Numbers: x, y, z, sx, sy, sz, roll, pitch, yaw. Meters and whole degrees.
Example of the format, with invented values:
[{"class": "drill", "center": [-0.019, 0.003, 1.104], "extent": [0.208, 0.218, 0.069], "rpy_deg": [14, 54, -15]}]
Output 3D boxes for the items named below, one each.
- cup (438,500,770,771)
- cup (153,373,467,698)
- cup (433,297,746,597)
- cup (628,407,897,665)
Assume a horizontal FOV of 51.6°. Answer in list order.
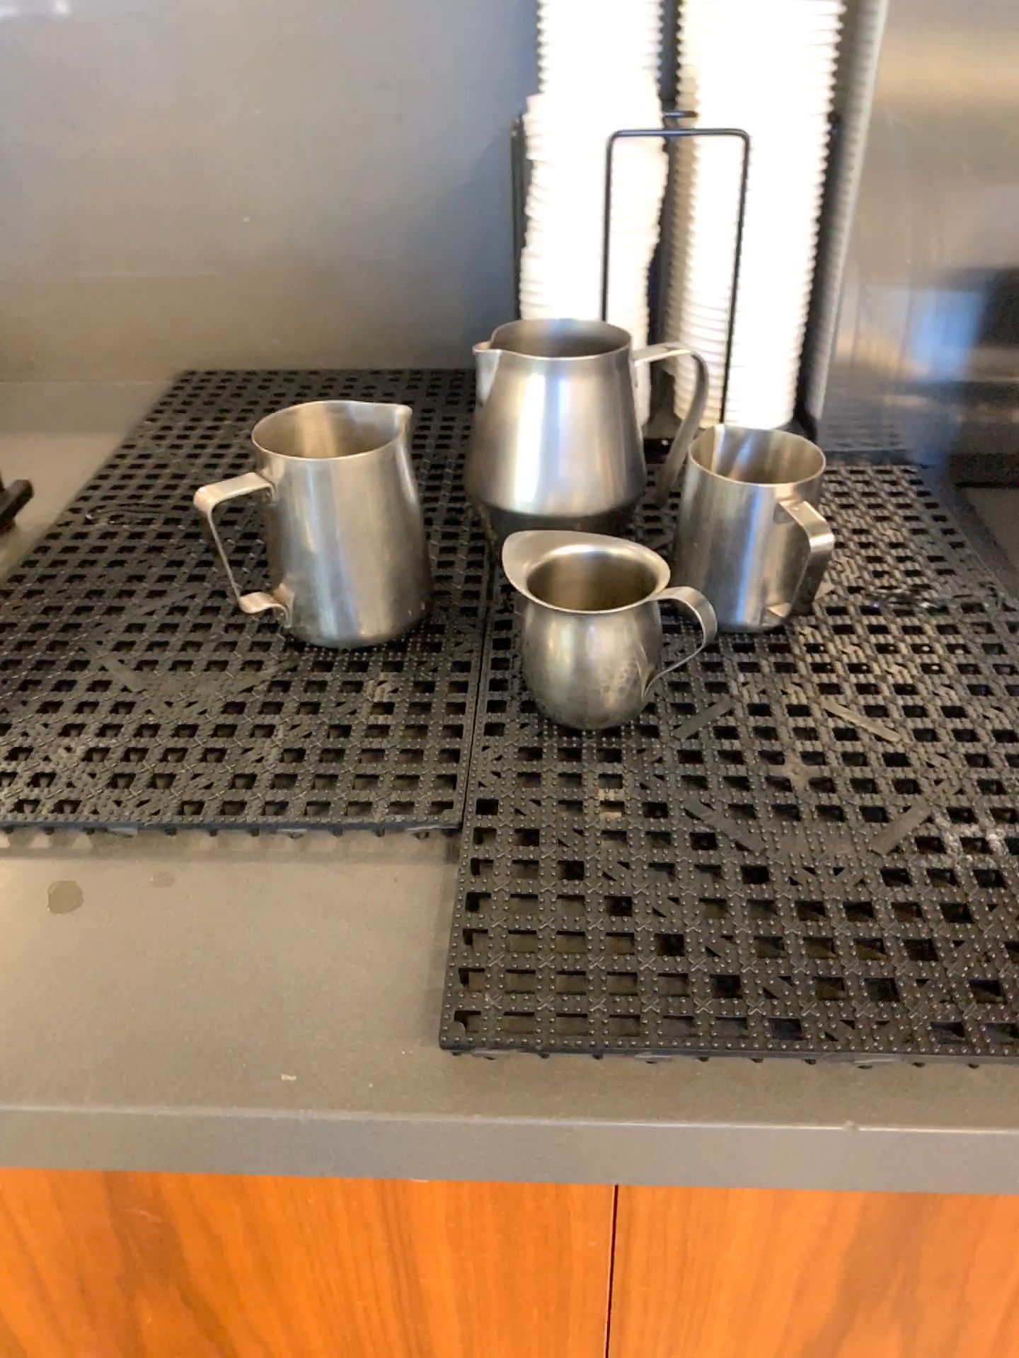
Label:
[{"class": "cup", "center": [0.041, -0.025, 0.476], "extent": [0.120, 0.060, 0.080], "rpy_deg": [22, 41, 30]}, {"class": "cup", "center": [-0.095, -0.077, 0.534], "extent": [0.080, 0.109, 0.120], "rpy_deg": [28, 44, 35]}, {"class": "cup", "center": [0.042, -0.139, 0.621], "extent": [0.150, 0.129, 0.101], "rpy_deg": [-9, 35, -11]}, {"class": "cup", "center": [0.124, -0.077, 0.542], "extent": [0.080, 0.080, 0.111], "rpy_deg": [-13, 36, -17]}]
